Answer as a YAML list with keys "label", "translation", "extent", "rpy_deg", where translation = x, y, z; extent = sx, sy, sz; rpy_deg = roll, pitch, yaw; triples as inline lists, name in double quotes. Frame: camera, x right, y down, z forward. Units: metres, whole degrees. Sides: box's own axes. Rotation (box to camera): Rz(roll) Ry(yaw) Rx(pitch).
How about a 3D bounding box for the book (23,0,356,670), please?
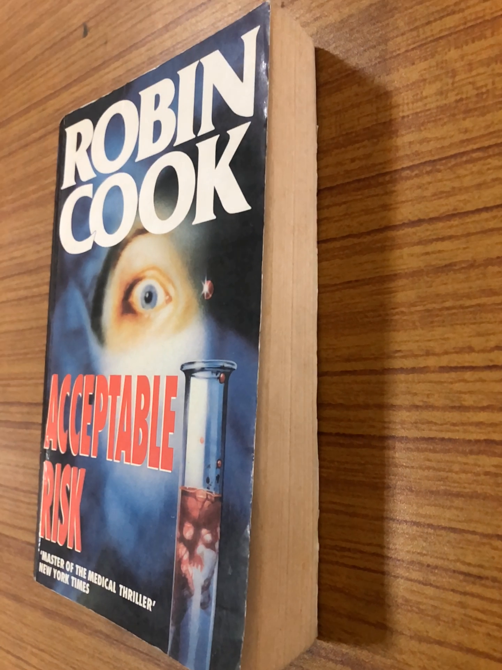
- label: "book"
  translation: [-0.025, -0.001, 0.189]
  extent: [0.111, 0.040, 0.170]
  rpy_deg: [-3, 84, 40]
